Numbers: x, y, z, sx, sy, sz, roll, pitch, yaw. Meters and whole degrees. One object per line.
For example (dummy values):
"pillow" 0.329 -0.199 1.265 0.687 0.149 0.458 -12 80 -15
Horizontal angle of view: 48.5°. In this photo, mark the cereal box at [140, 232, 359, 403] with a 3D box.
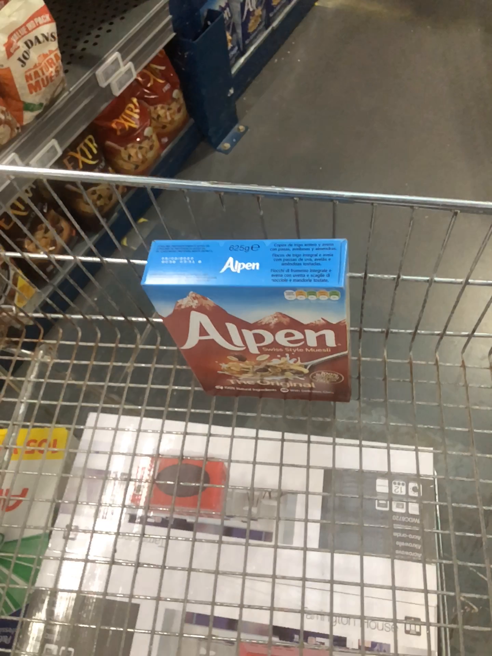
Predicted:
"cereal box" 0.019 0.000 0.550 0.180 0.219 0.060 2 59 11
